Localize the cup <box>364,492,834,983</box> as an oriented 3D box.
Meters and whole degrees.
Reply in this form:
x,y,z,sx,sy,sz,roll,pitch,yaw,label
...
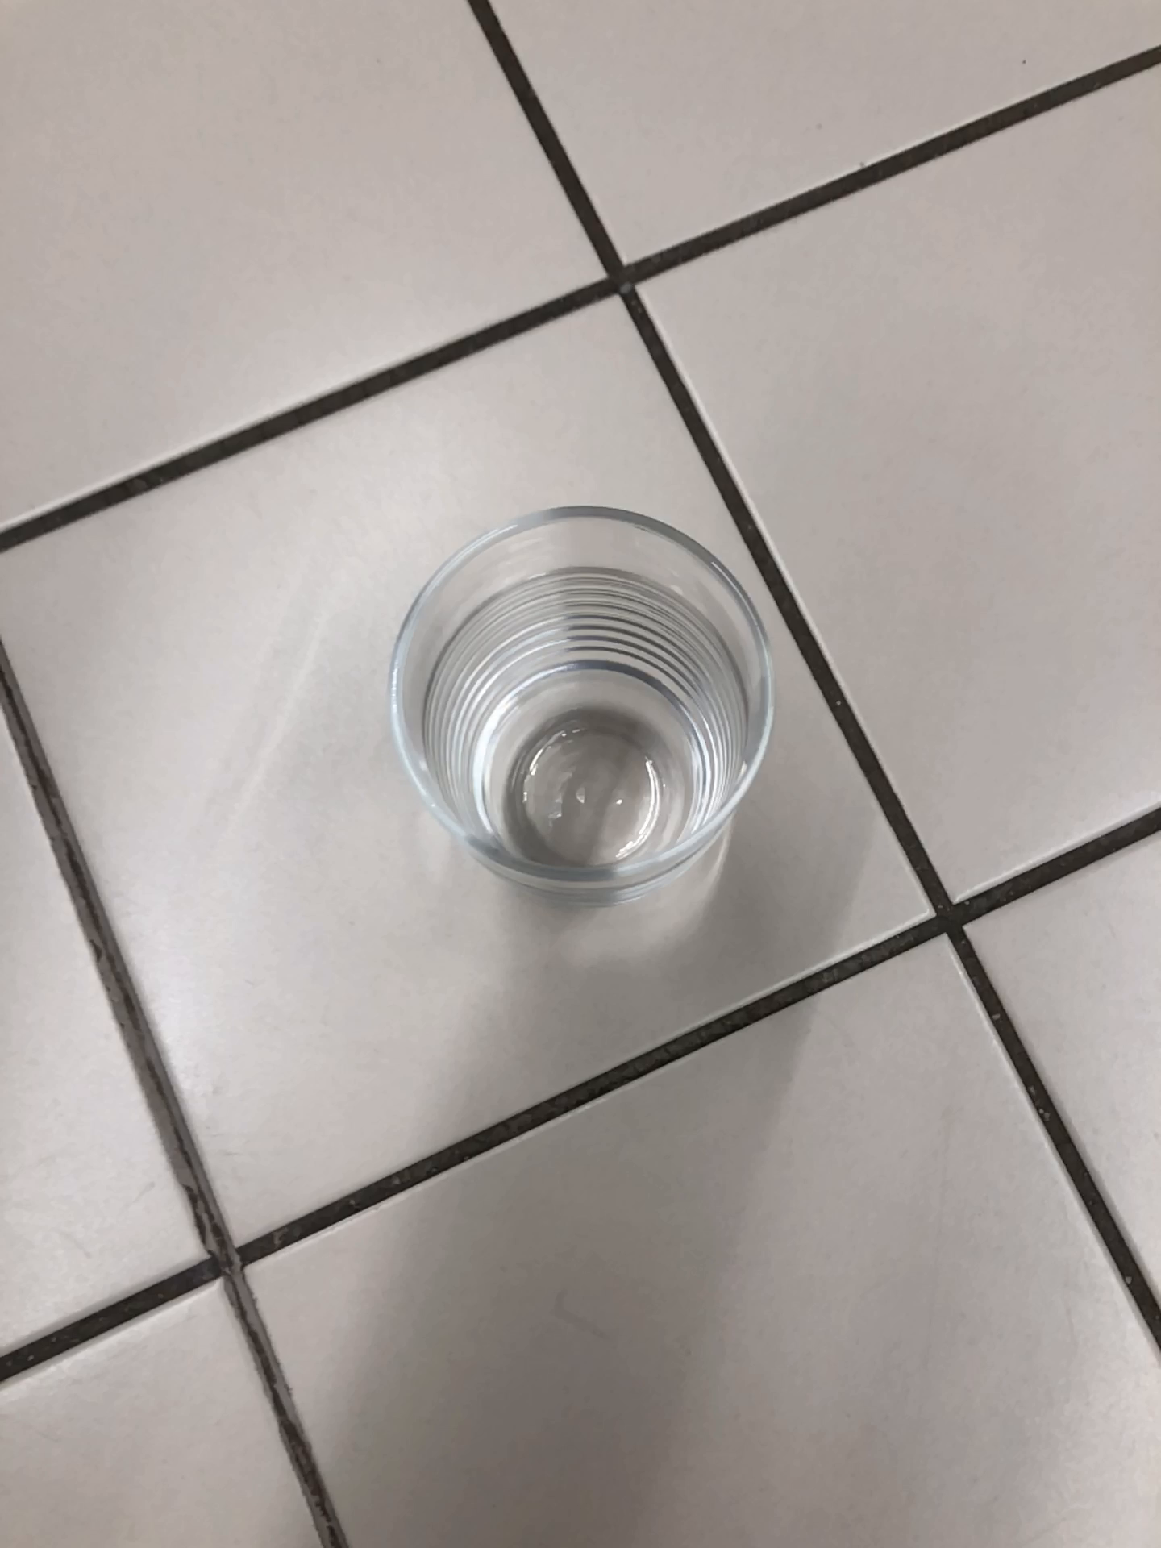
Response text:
x,y,z,sx,sy,sz,roll,pitch,yaw,label
0.002,0.001,0.273,0.076,0.105,0.079,0,79,1,cup
